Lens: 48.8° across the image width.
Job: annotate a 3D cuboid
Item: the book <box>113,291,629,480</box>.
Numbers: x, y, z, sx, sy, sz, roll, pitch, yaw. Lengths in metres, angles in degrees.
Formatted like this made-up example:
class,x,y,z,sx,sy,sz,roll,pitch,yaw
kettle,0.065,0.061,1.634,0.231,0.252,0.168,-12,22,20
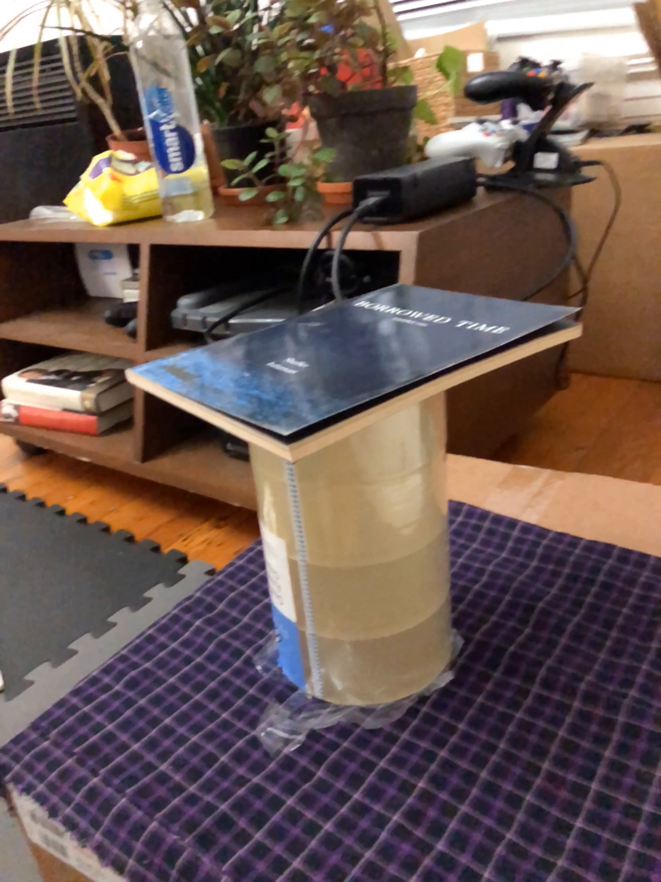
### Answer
class,x,y,z,sx,sy,sz,roll,pitch,yaw
book,0.025,-0.046,0.394,0.231,0.010,0.160,-21,29,-35
